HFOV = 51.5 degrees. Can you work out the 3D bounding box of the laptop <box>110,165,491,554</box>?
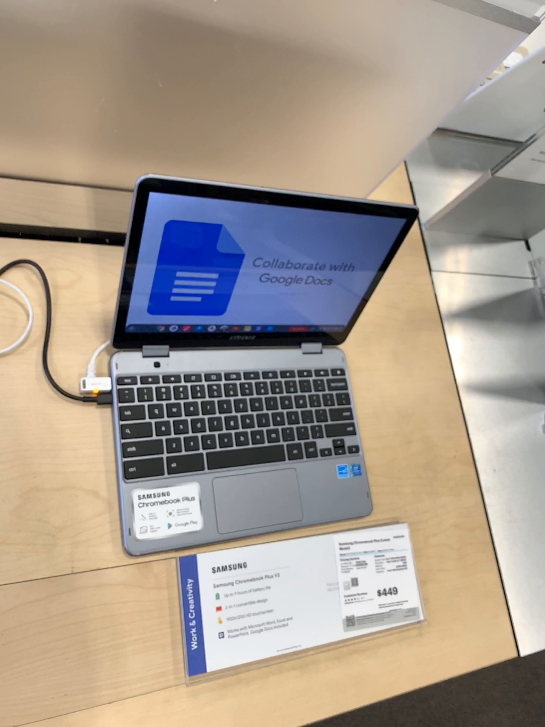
[{"bbox_3d":[0.009,0.008,0.542,0.274,0.181,0.288,-2,75,-25],"label":"laptop"}]
